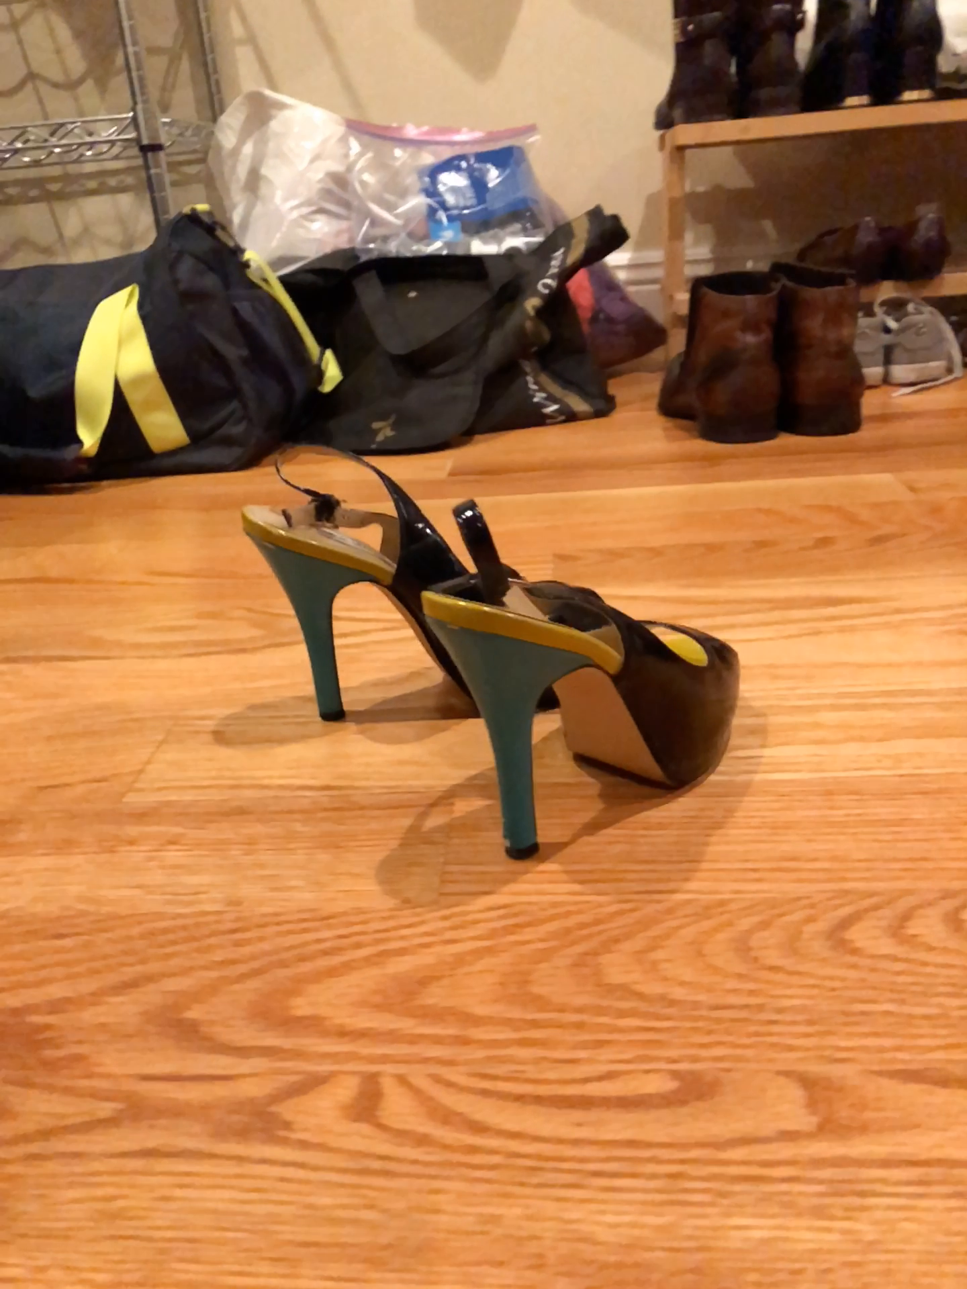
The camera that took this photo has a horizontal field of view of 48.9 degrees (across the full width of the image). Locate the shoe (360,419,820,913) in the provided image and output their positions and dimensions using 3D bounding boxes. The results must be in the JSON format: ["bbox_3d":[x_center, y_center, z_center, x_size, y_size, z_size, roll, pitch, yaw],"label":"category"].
[{"bbox_3d":[0.057,-0.007,0.451,0.085,0.131,0.201,14,29,38],"label":"shoe"}]

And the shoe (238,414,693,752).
[{"bbox_3d":[-0.008,-0.035,0.530,0.204,0.121,0.085,-8,23,-8],"label":"shoe"}]
